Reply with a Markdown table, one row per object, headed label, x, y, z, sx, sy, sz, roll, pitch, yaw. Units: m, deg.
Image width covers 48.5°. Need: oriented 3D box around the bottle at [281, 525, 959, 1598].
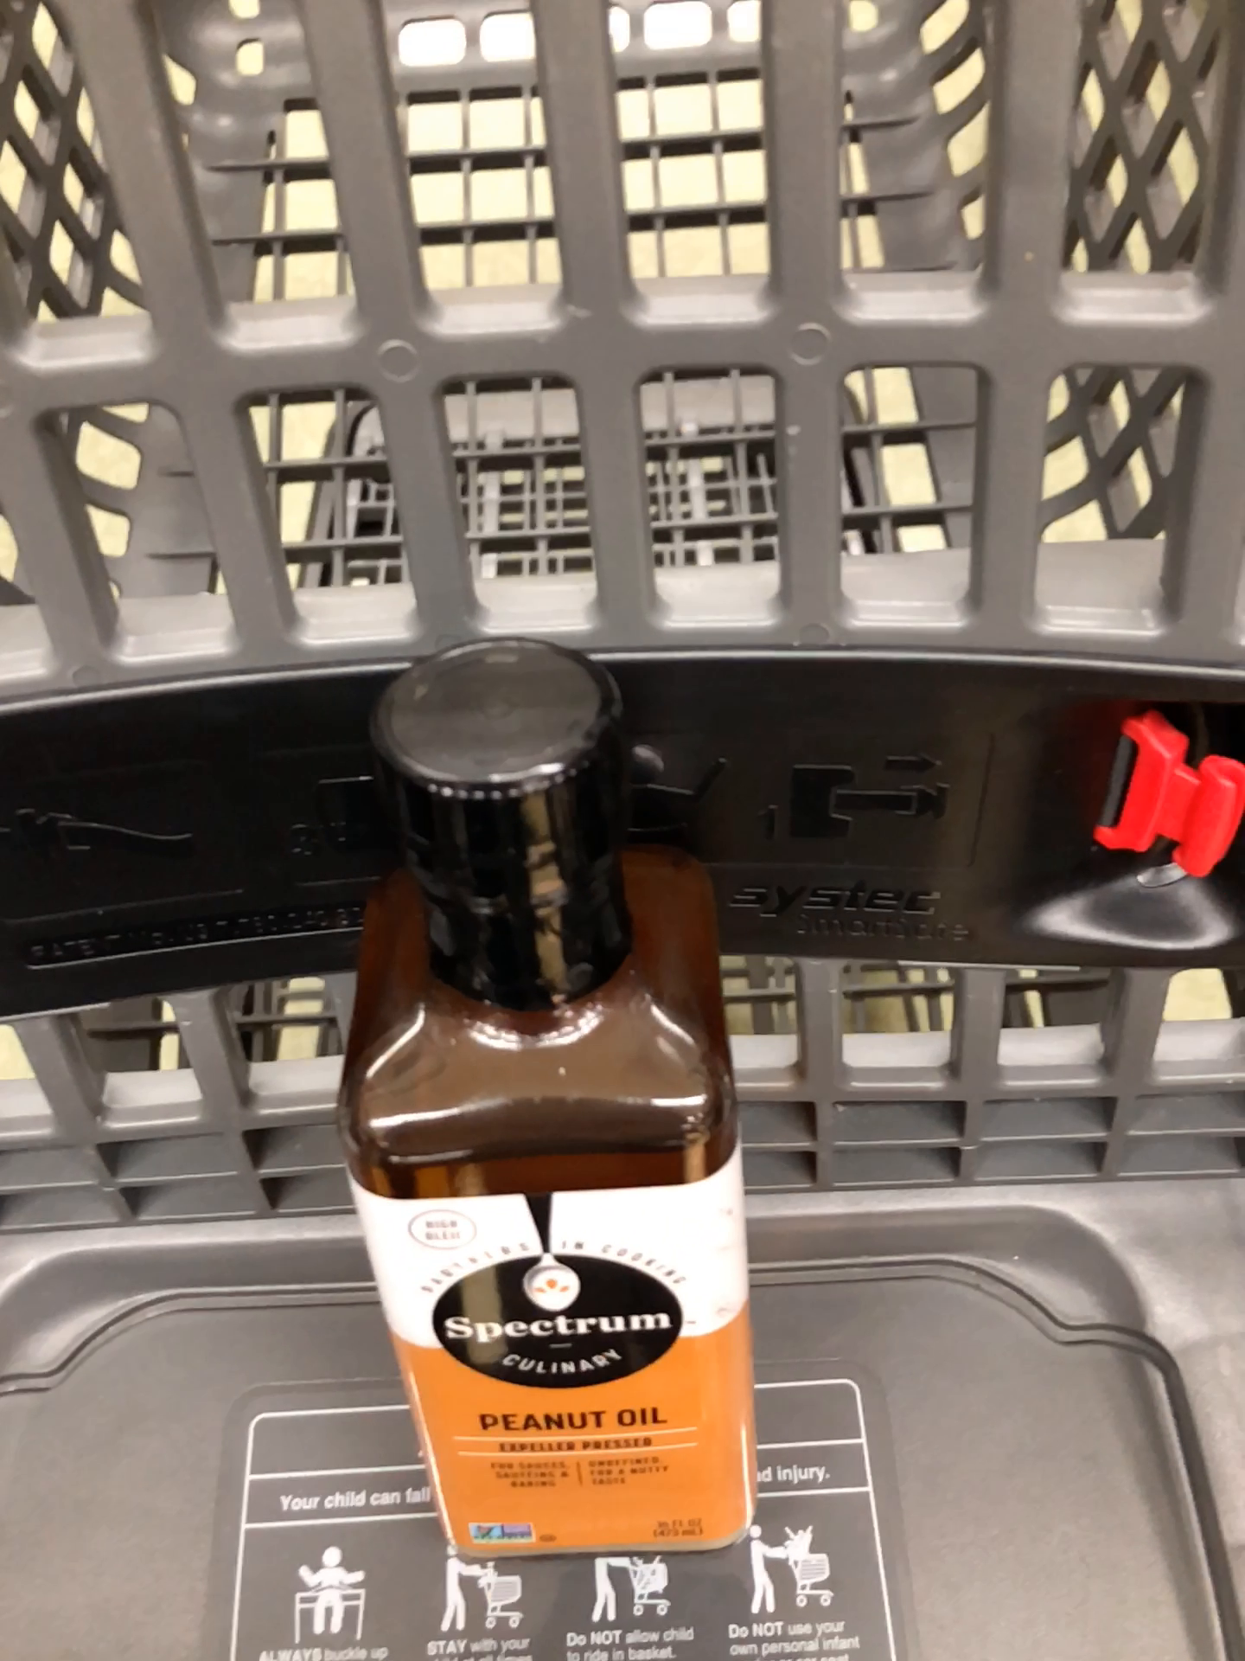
| label | x | y | z | sx | sy | sz | roll | pitch | yaw |
| --- | --- | --- | --- | --- | --- | --- | --- | --- | --- |
| bottle | 0.004 | 0.053 | 0.231 | 0.070 | 0.190 | 0.070 | -2 | 41 | 2 |
